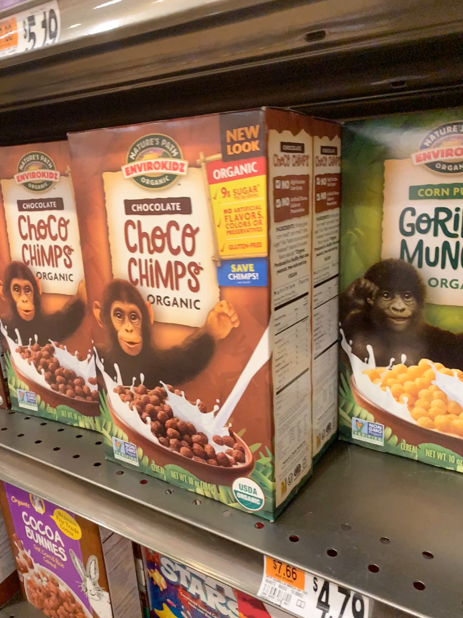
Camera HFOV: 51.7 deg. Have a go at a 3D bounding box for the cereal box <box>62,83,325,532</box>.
[{"bbox_3d":[-0.025,-0.002,0.347,0.170,0.269,0.060,7,17,32],"label":"cereal box"}]
